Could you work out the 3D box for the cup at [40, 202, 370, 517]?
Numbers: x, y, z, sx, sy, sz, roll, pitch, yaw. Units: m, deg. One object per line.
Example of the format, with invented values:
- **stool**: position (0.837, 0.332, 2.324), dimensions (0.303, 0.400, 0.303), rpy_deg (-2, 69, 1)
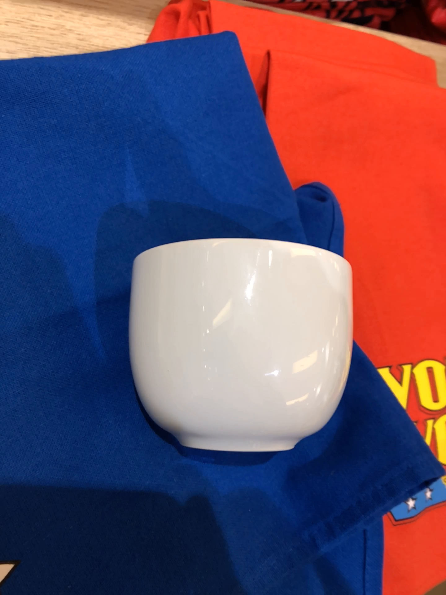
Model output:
- **cup**: position (0.006, 0.029, 0.219), dimensions (0.131, 0.080, 0.090), rpy_deg (20, 70, -57)
